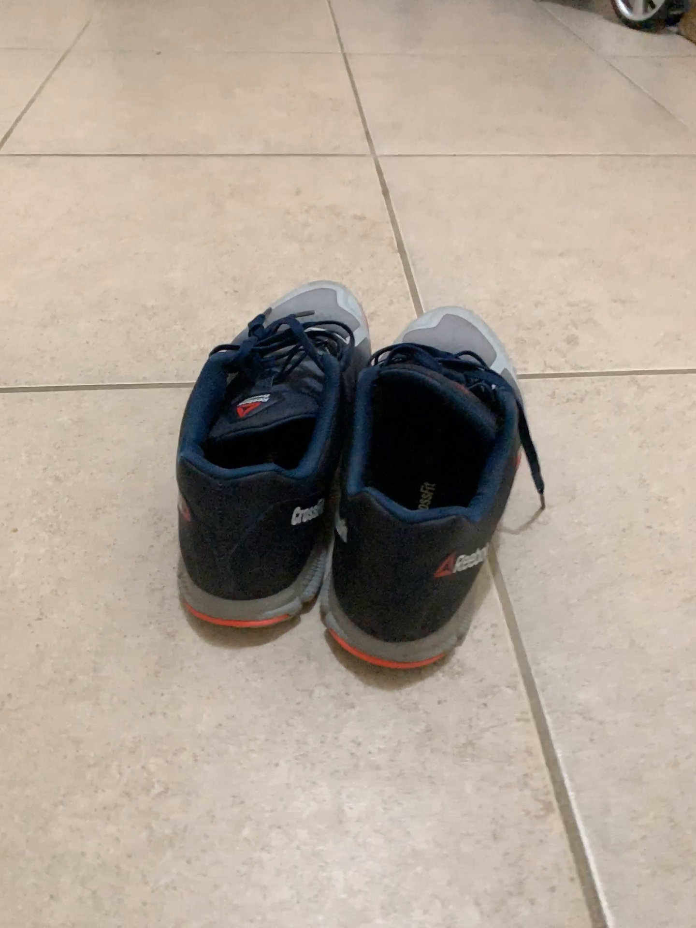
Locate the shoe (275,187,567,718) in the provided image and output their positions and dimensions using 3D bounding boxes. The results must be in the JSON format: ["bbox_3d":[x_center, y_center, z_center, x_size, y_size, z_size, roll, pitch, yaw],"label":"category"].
[{"bbox_3d":[0.059,-0.035,0.438,0.109,0.133,0.317,11,44,9],"label":"shoe"}]

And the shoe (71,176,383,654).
[{"bbox_3d":[-0.047,-0.055,0.447,0.104,0.121,0.307,6,44,4],"label":"shoe"}]
